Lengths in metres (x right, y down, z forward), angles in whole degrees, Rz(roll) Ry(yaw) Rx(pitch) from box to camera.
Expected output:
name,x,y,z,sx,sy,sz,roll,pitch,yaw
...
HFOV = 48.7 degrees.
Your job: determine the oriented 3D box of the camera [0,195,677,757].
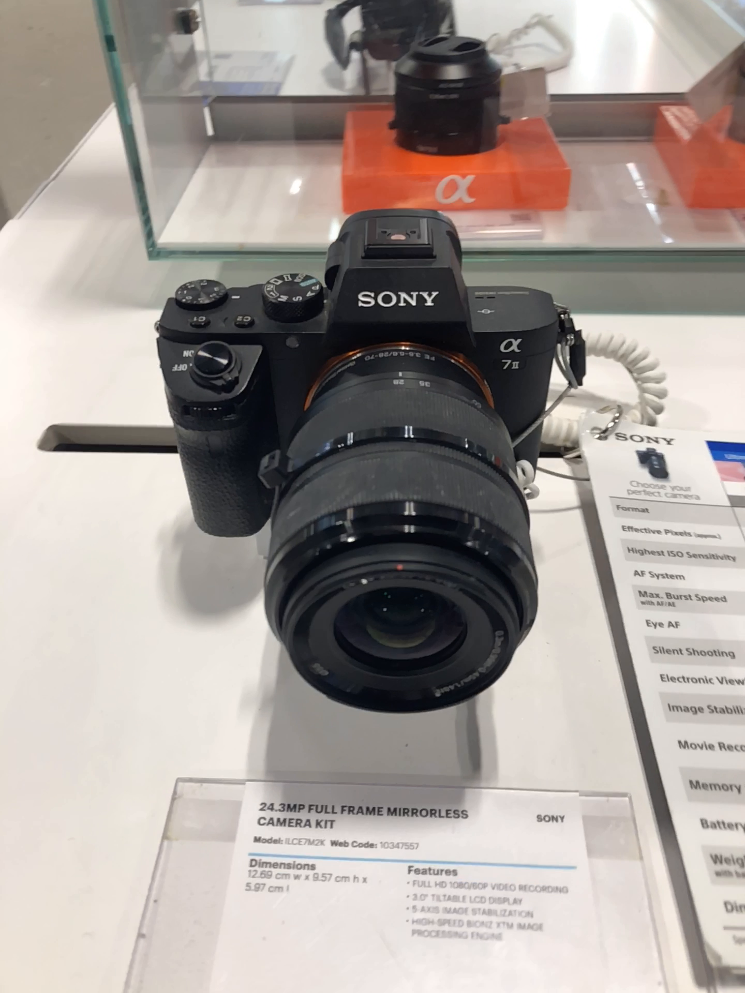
name,x,y,z,sx,sy,sz,roll,pitch,yaw
camera,-0.006,-0.013,0.239,0.130,0.089,0.141,-1,42,1
